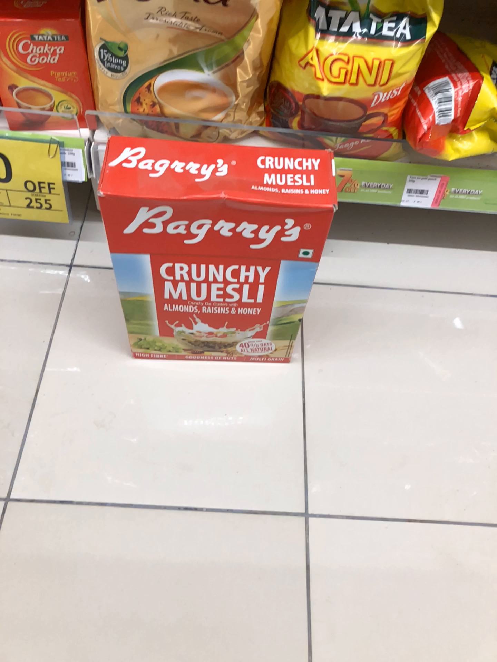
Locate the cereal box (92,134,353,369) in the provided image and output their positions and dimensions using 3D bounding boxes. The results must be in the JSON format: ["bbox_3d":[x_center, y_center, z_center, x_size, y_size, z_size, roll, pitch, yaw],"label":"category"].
[{"bbox_3d":[-0.028,-0.058,0.552,0.200,0.269,0.070,2,59,-4],"label":"cereal box"}]
